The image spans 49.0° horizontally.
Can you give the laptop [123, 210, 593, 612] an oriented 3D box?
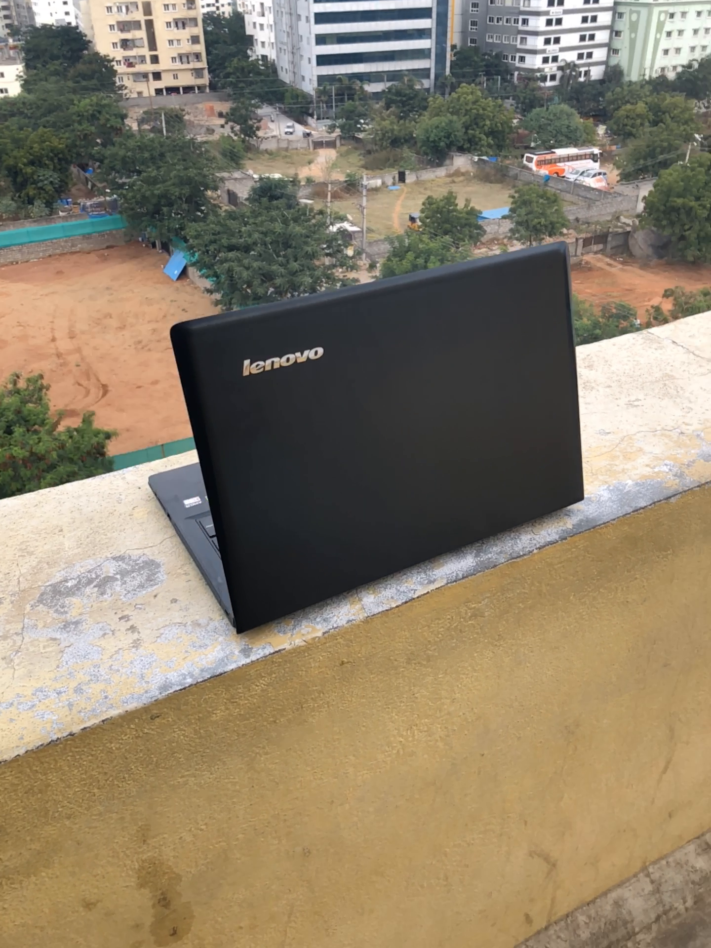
[{"bbox_3d":[-0.005,-0.084,0.740,0.334,0.223,0.246,-18,35,-22],"label":"laptop"}]
